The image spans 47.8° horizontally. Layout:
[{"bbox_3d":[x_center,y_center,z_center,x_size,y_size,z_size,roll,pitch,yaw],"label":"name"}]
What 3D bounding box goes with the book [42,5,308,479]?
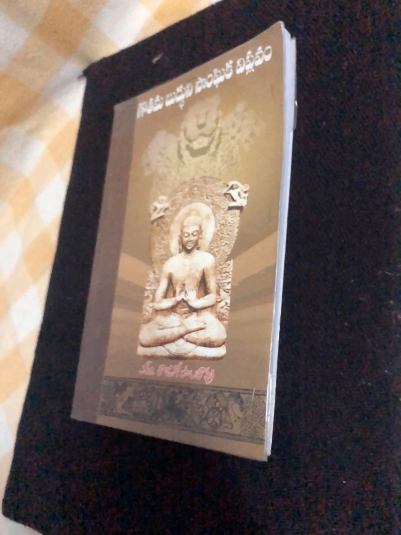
[{"bbox_3d":[-0.016,-0.019,0.259,0.150,0.020,0.230,-7,69,37],"label":"book"}]
